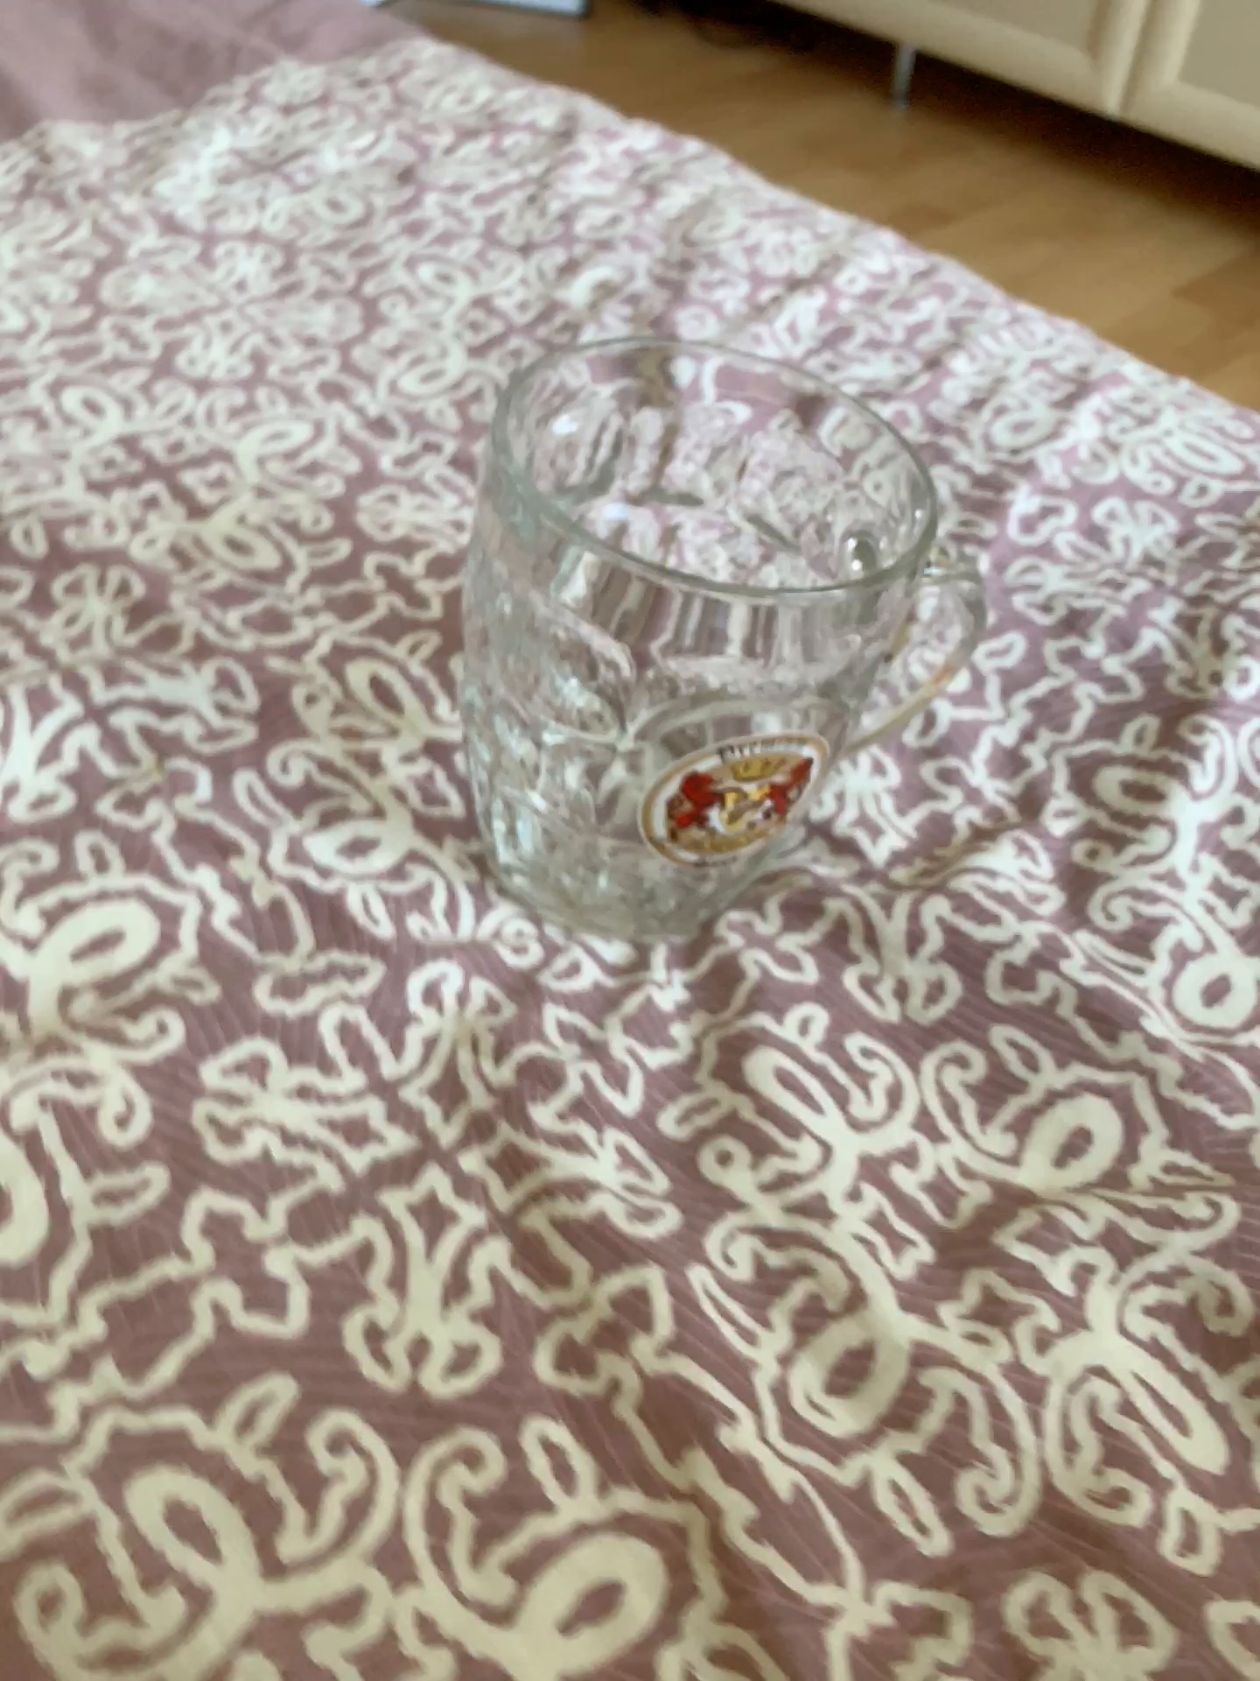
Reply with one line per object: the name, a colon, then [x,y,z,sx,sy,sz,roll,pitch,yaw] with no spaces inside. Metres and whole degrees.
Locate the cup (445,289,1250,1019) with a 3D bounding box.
cup: [0.031,-0.040,0.283,0.120,0.109,0.091,-10,54,-17]
